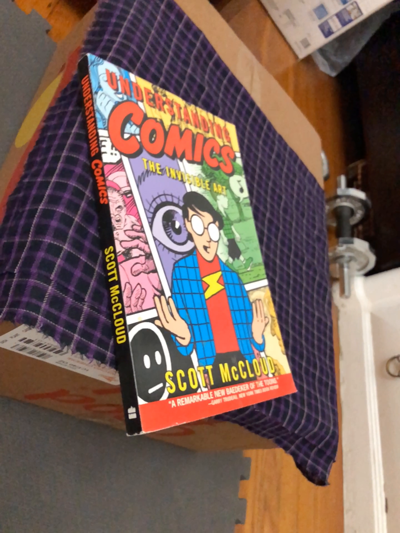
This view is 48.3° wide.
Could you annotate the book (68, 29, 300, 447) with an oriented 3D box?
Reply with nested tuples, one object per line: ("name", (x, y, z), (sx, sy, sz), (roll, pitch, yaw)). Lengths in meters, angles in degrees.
("book", (-0.006, -0.025, 0.340), (0.171, 0.020, 0.270), (7, 67, -49))
